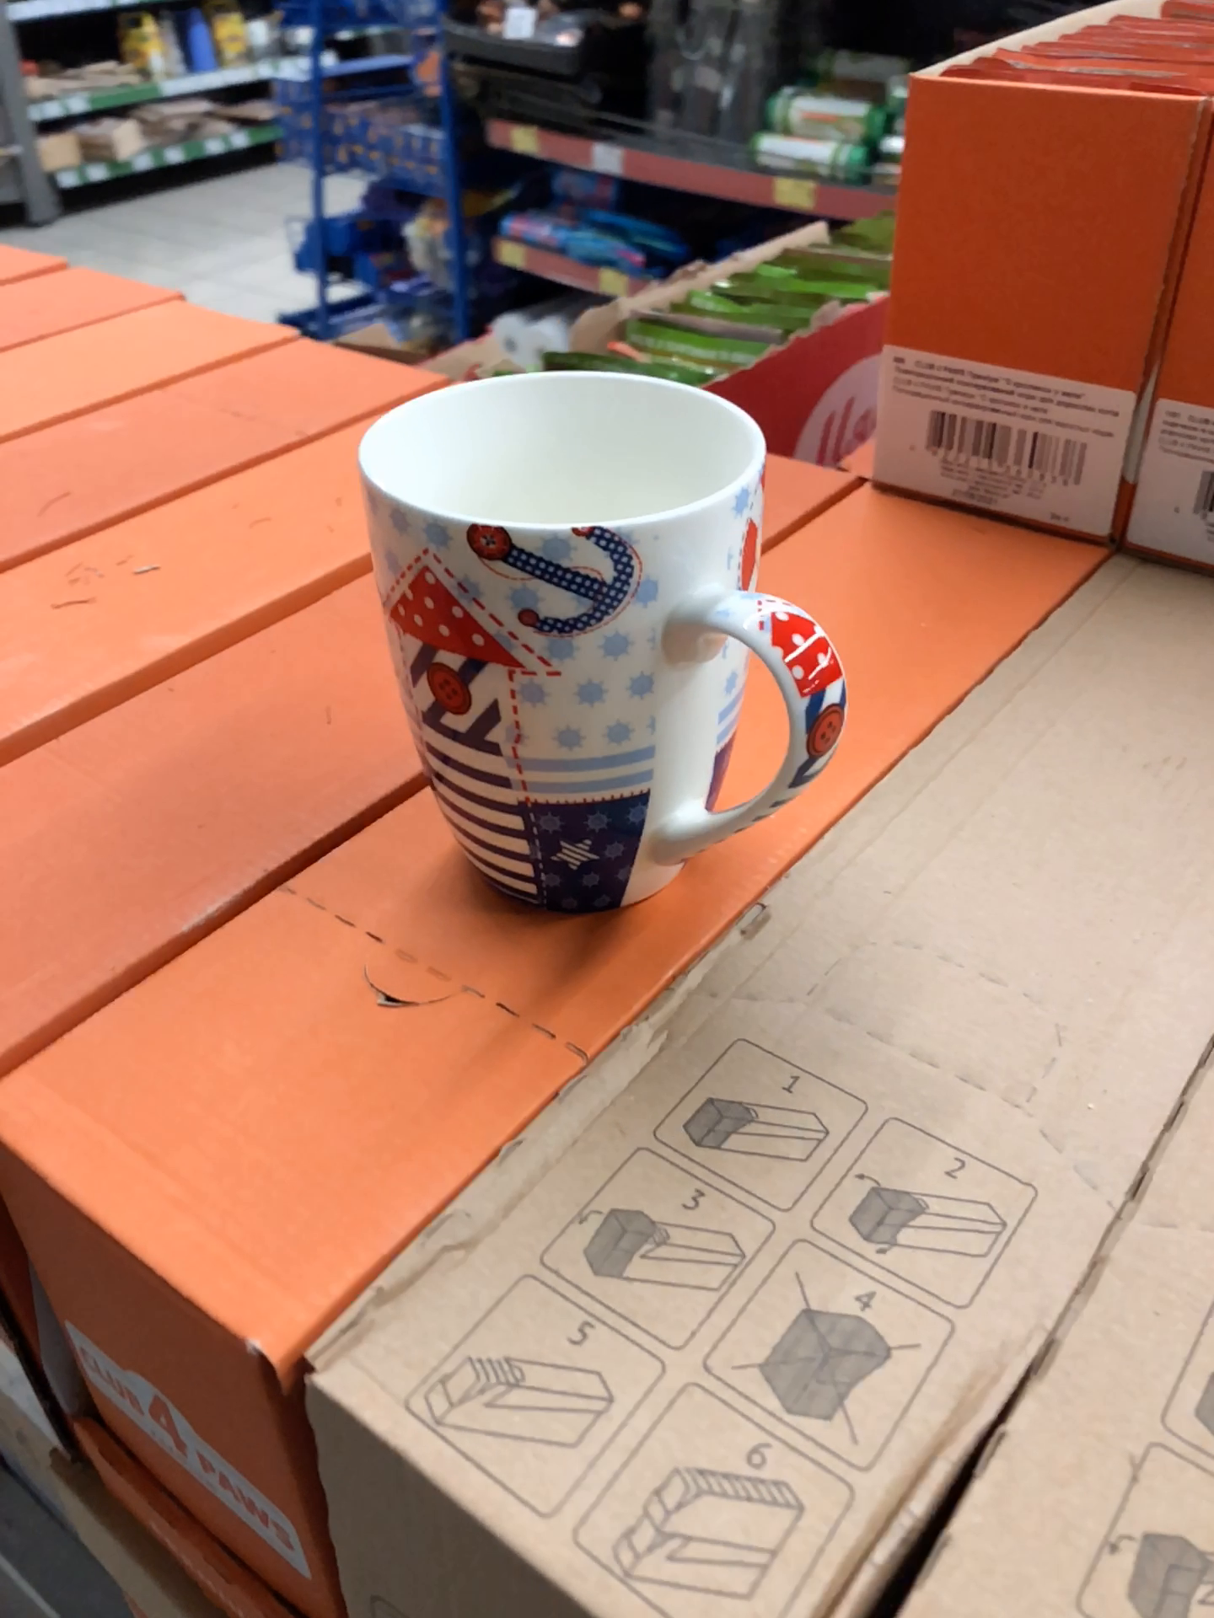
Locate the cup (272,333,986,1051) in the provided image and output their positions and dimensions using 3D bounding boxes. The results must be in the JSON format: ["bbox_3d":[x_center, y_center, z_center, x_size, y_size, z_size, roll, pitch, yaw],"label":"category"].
[{"bbox_3d":[0.002,-0.033,0.288,0.086,0.092,0.113,-28,44,-31],"label":"cup"}]
